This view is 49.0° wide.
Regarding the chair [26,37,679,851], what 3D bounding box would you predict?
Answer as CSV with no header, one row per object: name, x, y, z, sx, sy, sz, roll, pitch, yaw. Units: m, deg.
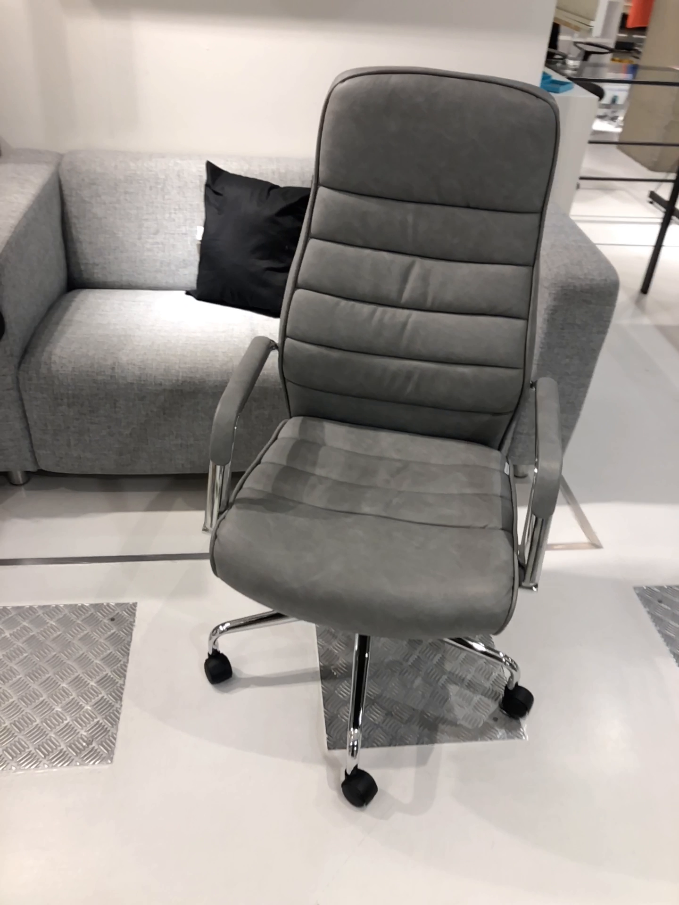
chair,0.090,-0.028,1.260,0.720,1.051,0.726,9,36,6
